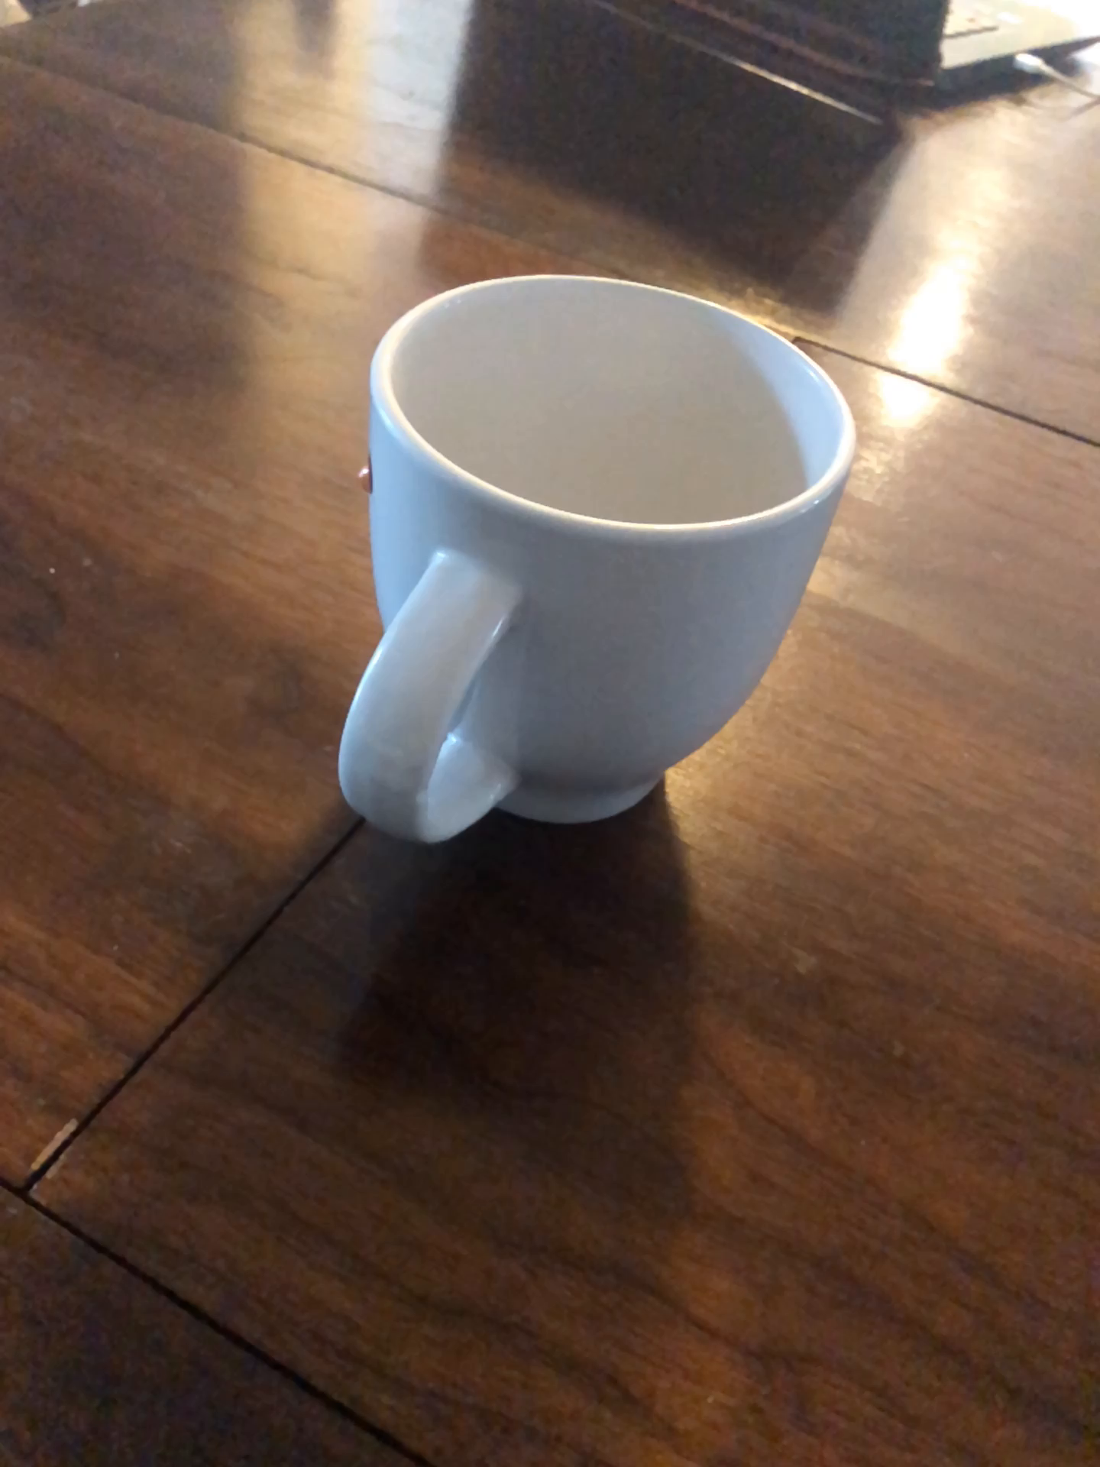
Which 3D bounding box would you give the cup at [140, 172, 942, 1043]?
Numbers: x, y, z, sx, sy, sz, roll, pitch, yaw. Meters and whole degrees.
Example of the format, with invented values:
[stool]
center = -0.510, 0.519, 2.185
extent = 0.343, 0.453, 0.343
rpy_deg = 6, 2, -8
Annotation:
[cup]
center = 0.006, -0.038, 0.277
extent = 0.110, 0.100, 0.150
rpy_deg = 21, 46, 11
